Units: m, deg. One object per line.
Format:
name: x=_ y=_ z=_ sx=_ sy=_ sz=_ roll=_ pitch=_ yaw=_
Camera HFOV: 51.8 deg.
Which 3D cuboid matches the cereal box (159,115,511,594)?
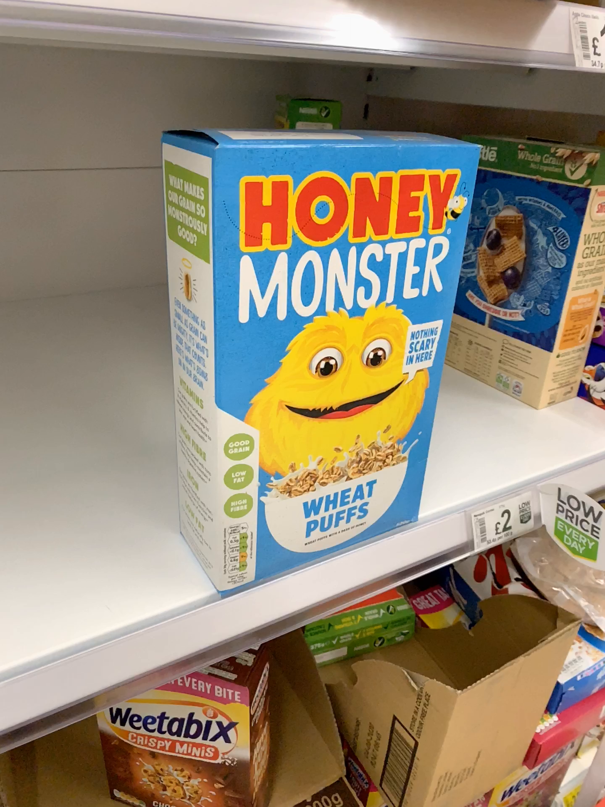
cereal box: x=0.016 y=-0.039 z=0.450 sx=0.201 sy=0.297 sz=0.091 roll=-13 pitch=31 yaw=-28
